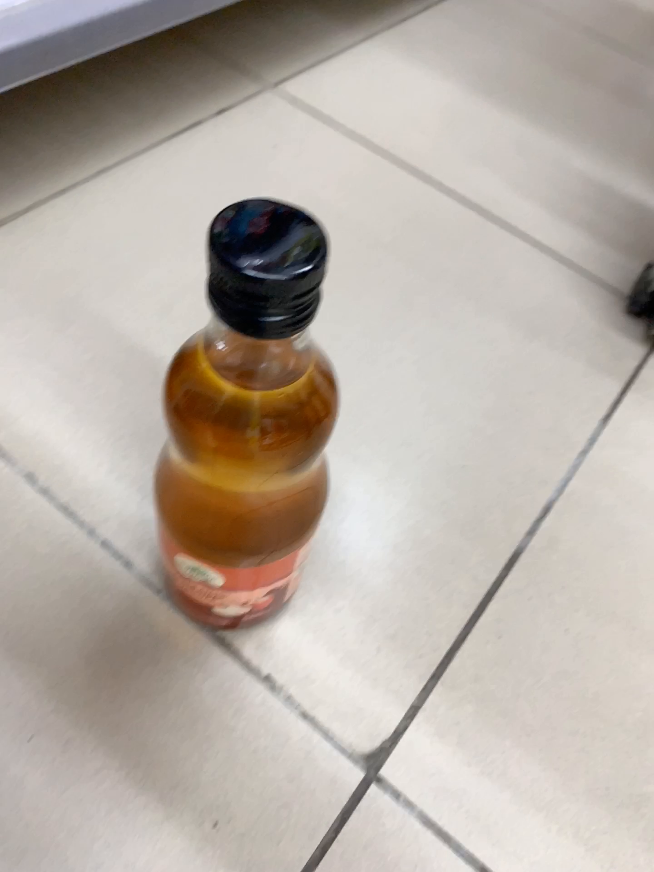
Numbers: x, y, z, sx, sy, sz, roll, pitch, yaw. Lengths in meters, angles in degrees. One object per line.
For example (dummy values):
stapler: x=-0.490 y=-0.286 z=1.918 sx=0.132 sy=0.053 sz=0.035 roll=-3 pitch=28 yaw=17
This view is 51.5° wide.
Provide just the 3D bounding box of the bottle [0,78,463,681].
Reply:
bottle: x=-0.031 y=0.006 z=0.243 sx=0.080 sy=0.210 sz=0.080 roll=5 pitch=55 yaw=-7
